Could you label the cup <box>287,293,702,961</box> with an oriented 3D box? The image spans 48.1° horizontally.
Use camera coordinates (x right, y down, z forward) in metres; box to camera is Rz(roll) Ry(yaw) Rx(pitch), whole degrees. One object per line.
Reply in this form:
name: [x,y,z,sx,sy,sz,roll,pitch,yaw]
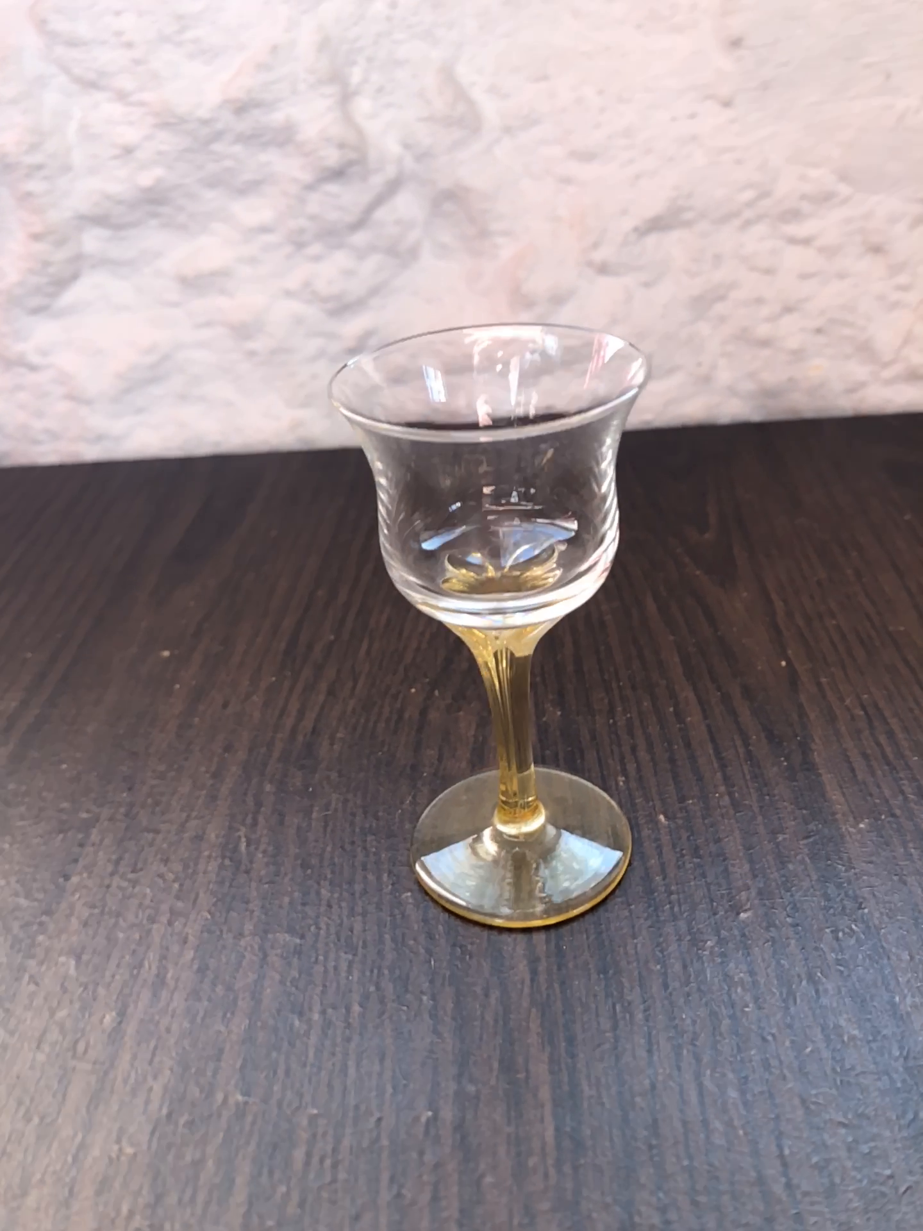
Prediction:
cup: [0.008,0.001,0.175,0.051,0.093,0.059,-4,30,3]
